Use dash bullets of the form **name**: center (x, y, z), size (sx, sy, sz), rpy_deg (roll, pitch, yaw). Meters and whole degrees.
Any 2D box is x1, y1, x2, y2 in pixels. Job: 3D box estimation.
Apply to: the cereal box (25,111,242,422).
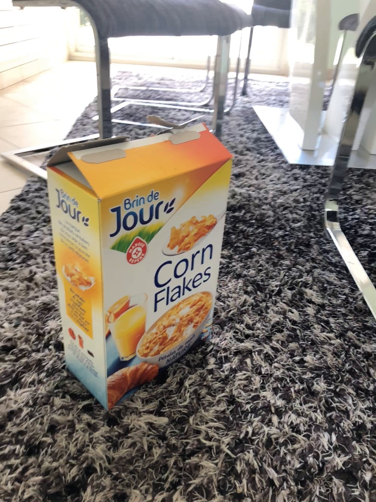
- **cereal box**: center (-0.055, 0.012, 0.494), size (0.100, 0.308, 0.201), rpy_deg (28, 38, 35)
